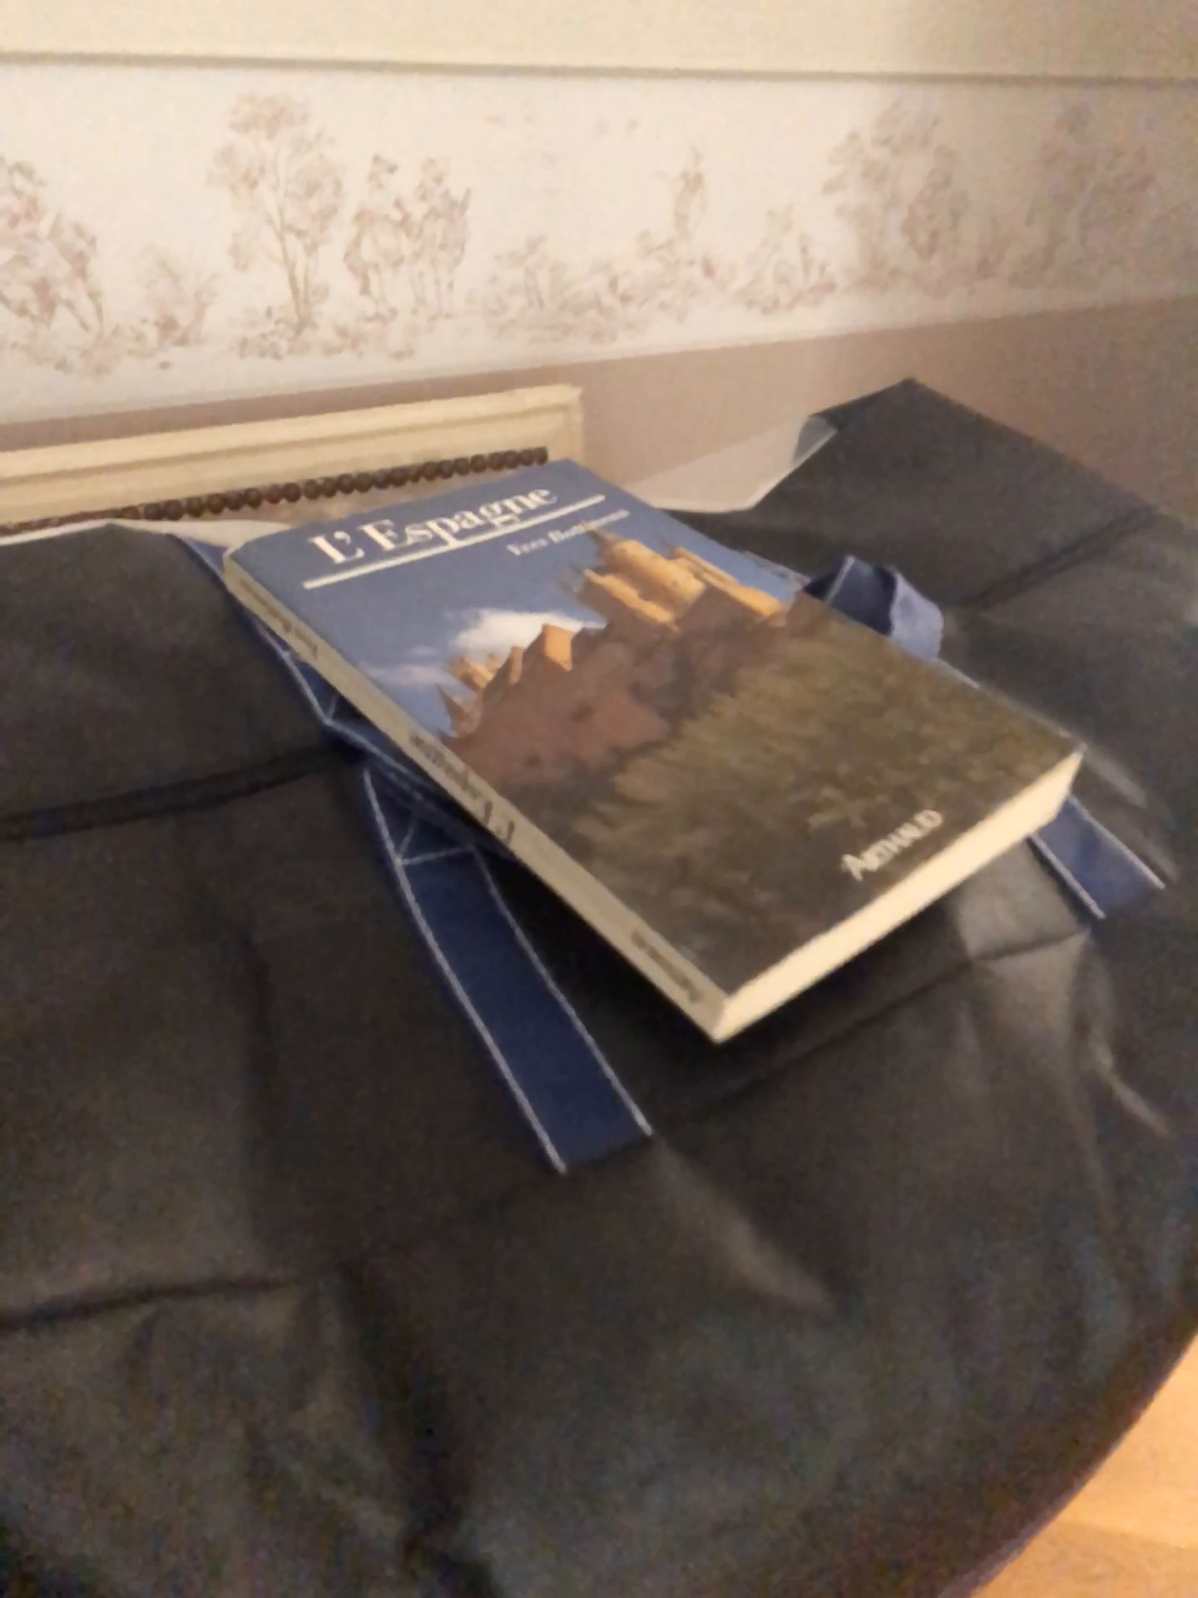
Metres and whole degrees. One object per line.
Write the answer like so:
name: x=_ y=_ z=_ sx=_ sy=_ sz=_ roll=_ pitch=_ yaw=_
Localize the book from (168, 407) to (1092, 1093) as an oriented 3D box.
book: x=0.003 y=-0.042 z=0.421 sx=0.171 sy=0.030 sz=0.250 roll=-28 pitch=54 yaw=-34
